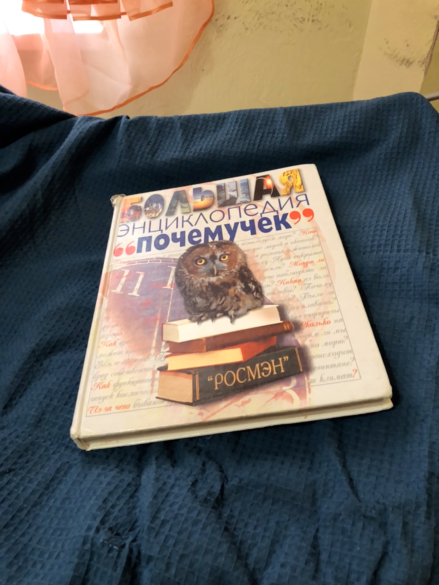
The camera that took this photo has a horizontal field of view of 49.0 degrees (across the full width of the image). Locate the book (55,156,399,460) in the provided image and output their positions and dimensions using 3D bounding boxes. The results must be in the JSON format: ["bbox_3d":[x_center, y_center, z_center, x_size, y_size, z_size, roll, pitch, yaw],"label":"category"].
[{"bbox_3d":[-0.003,-0.013,0.443,0.235,0.030,0.306,-9,45,6],"label":"book"}]
